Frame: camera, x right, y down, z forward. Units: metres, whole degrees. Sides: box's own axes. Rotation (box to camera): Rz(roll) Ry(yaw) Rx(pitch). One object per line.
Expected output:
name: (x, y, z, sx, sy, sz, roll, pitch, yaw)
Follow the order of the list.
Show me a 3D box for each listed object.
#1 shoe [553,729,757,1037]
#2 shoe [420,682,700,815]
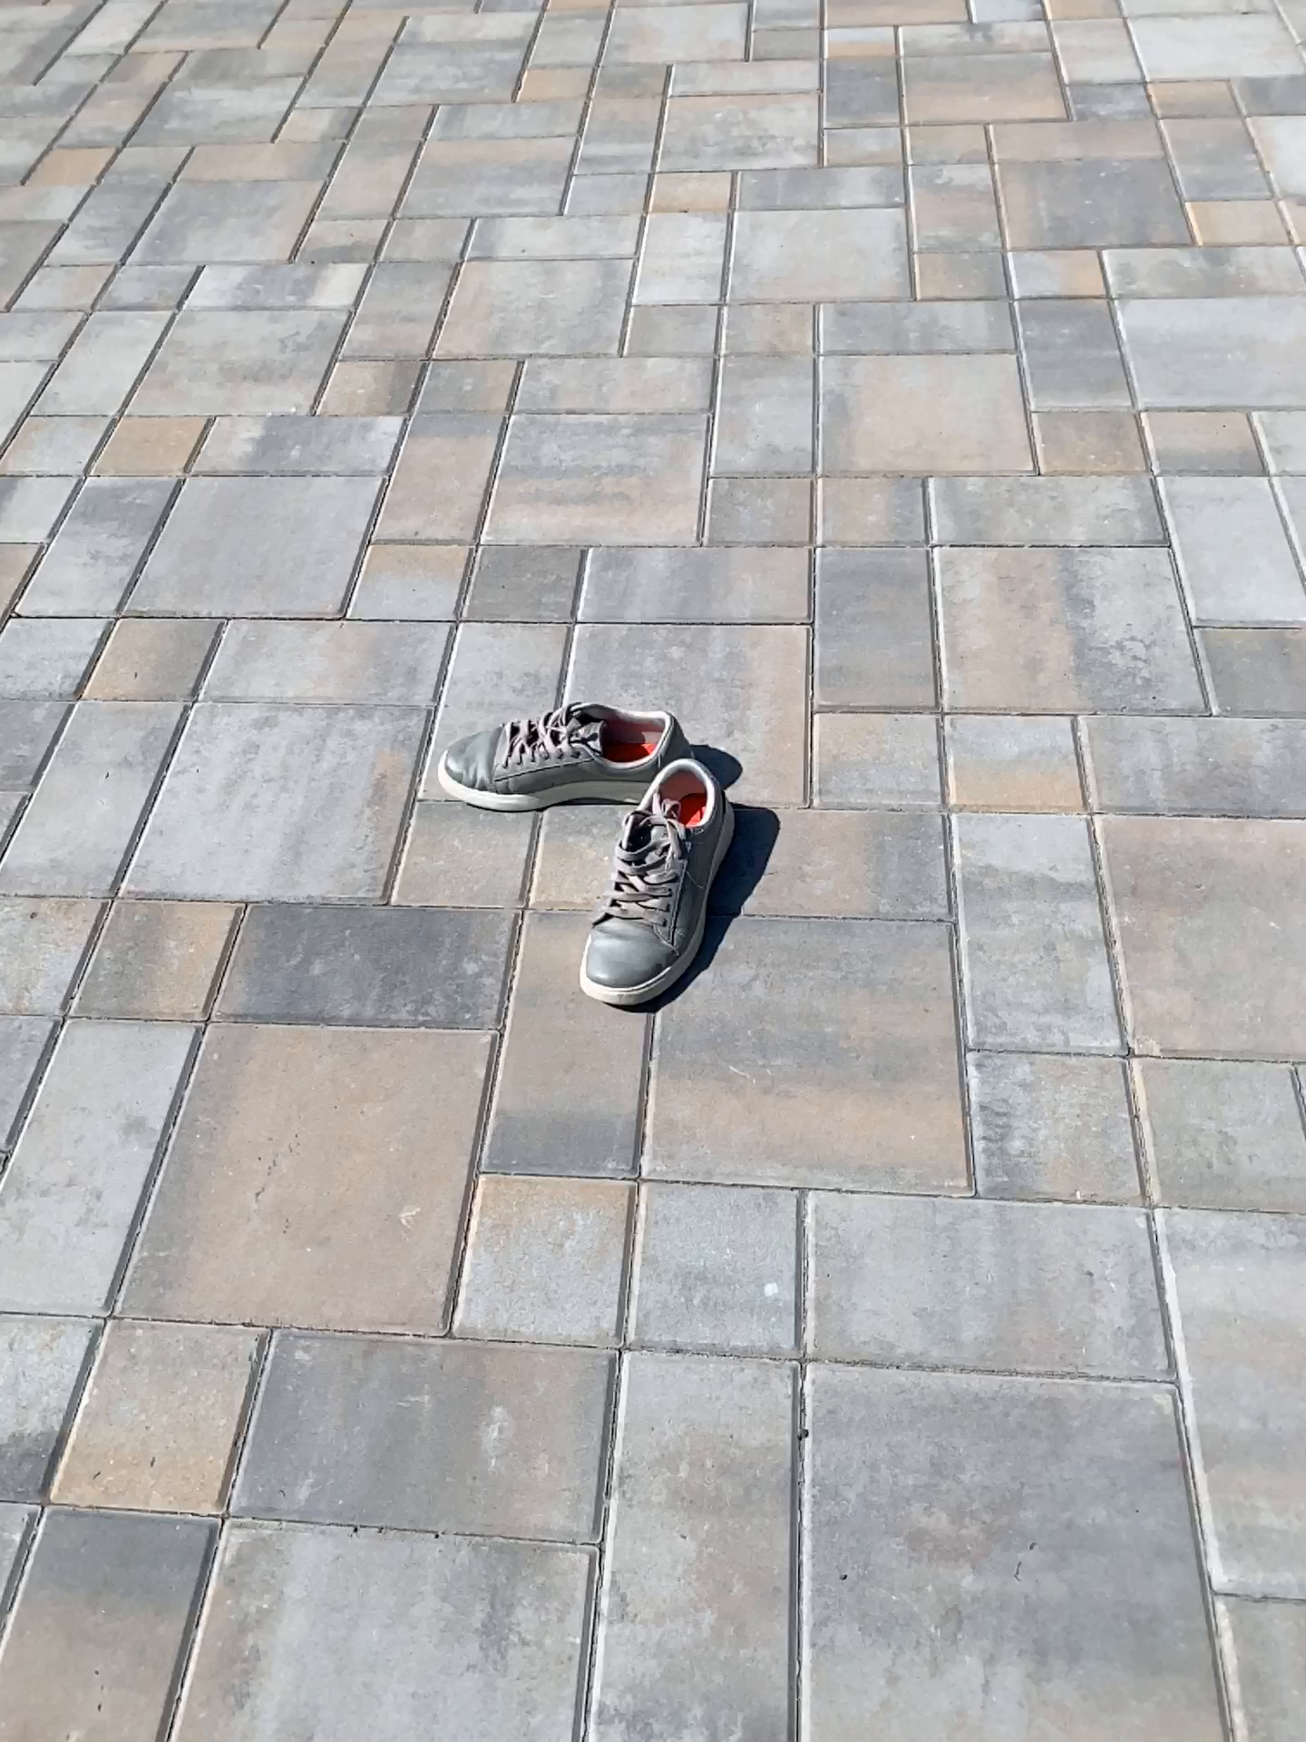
shoe: (0.011, 0.006, 1.388, 0.120, 0.110, 0.301, 12, 53, 14)
shoe: (-0.099, -0.138, 1.514, 0.300, 0.090, 0.120, 0, 51, 4)
